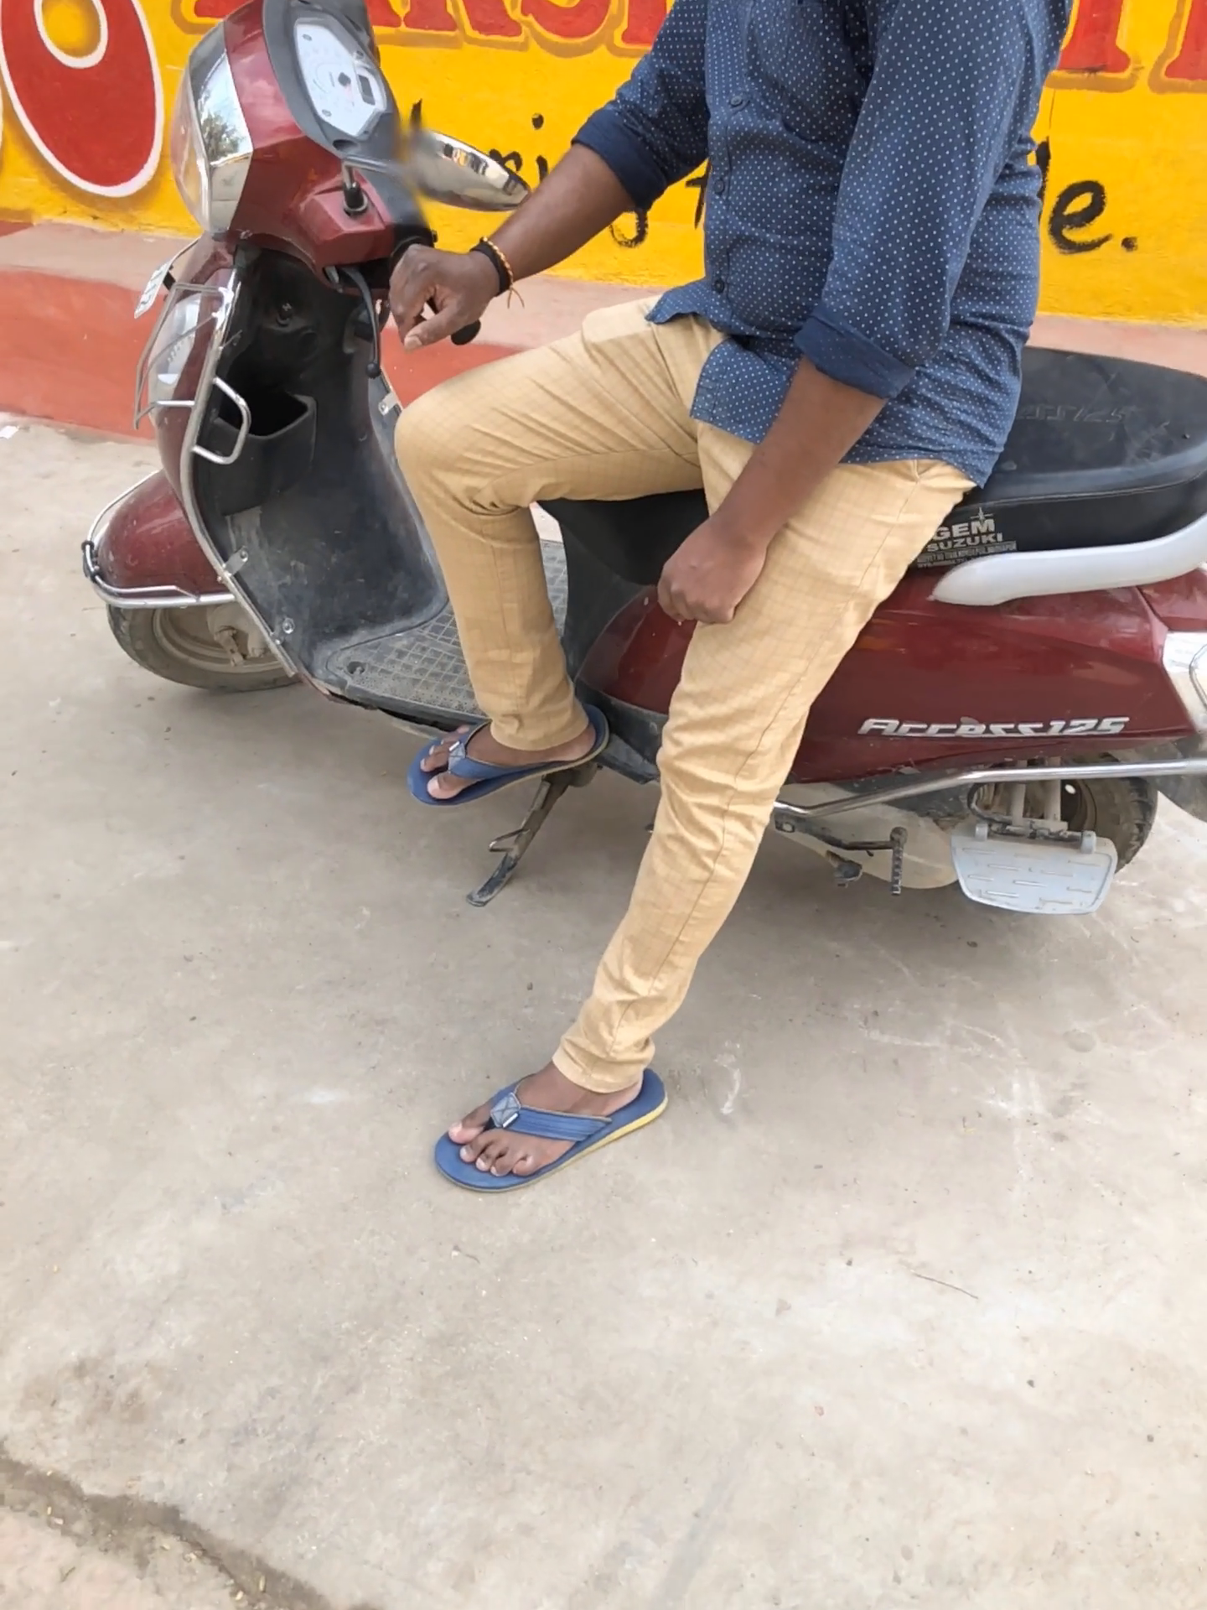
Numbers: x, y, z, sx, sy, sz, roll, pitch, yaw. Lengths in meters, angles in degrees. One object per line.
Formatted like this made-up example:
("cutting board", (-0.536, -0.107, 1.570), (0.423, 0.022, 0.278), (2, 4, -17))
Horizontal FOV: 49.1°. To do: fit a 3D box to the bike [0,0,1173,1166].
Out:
("bike", (-0.198, -0.327, 1.550), (1.376, 1.087, 0.632), (10, 36, 11))
